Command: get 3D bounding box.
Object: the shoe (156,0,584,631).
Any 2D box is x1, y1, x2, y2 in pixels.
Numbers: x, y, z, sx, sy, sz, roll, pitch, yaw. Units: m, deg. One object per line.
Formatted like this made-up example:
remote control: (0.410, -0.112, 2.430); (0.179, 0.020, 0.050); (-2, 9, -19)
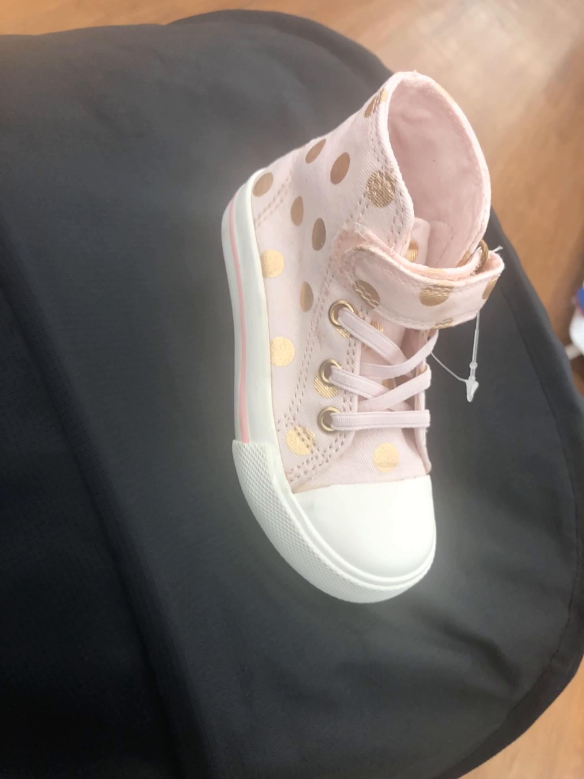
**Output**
shoe: (0.027, -0.024, 0.220); (0.080, 0.100, 0.170); (-2, 66, -36)
